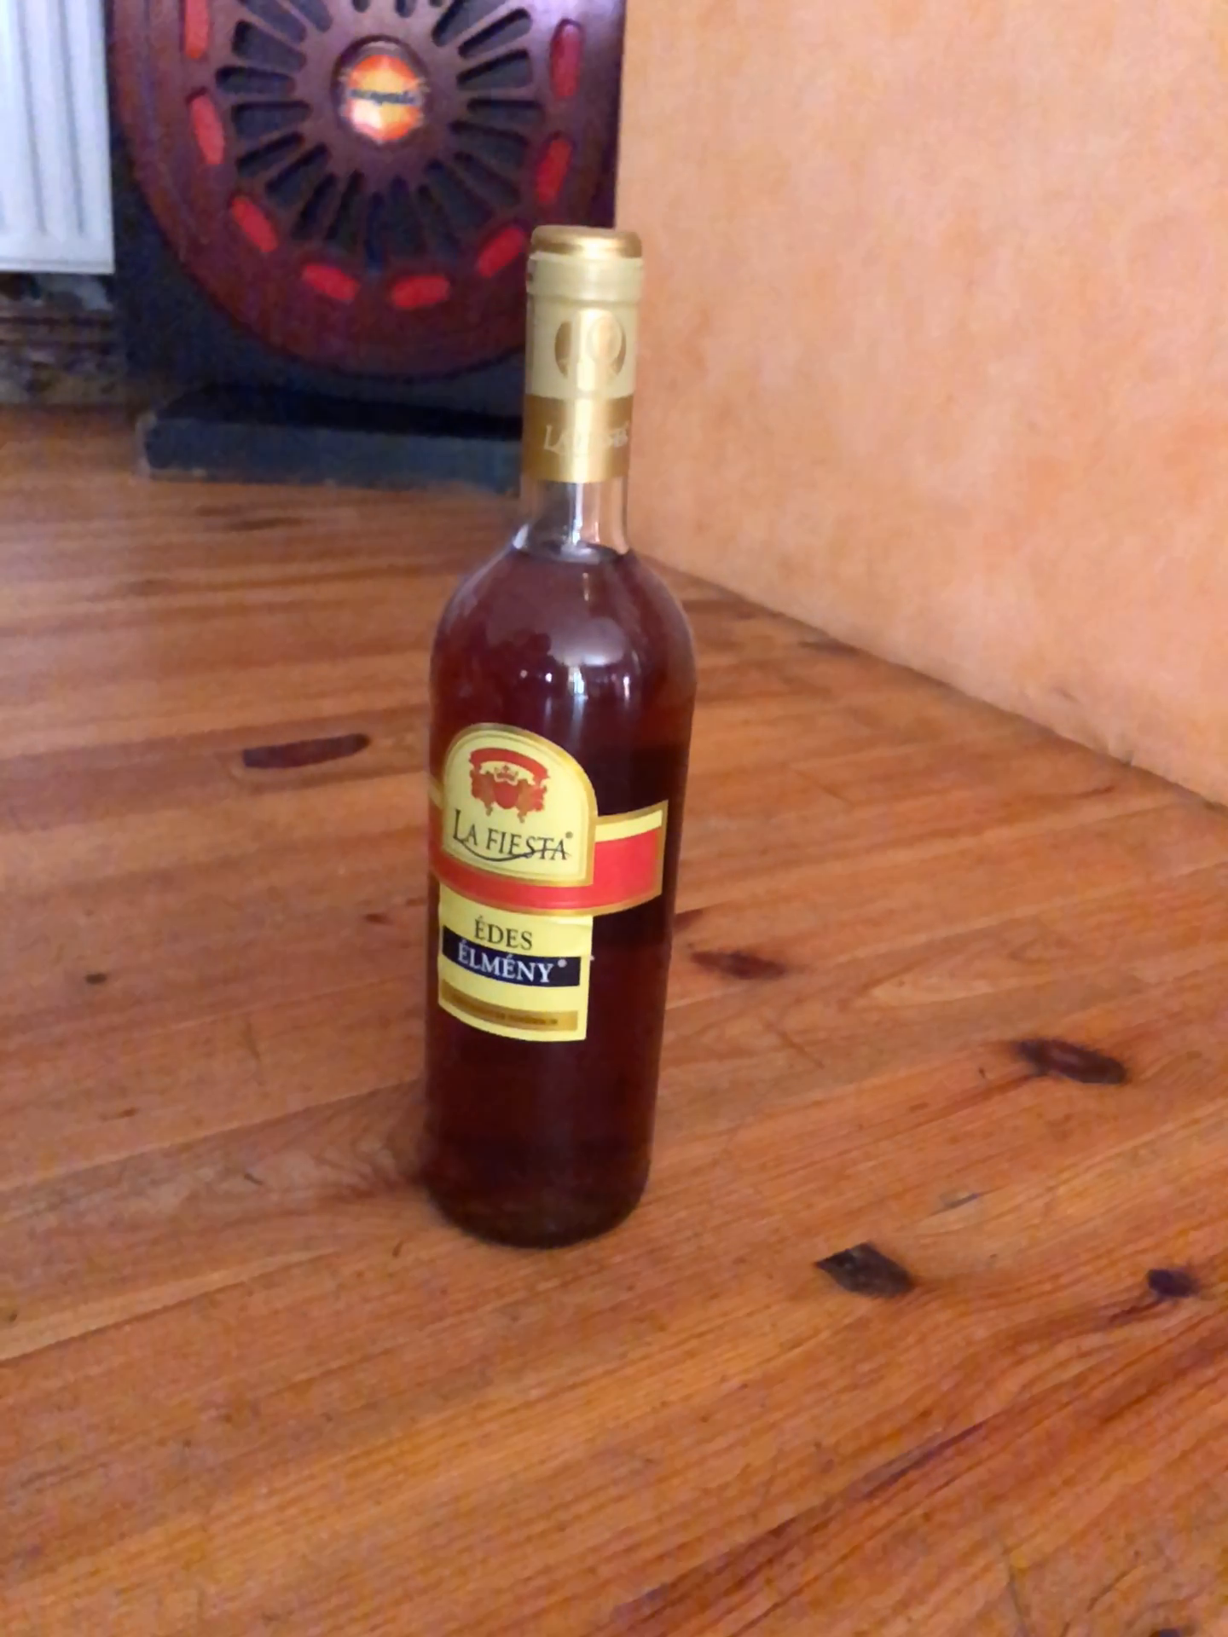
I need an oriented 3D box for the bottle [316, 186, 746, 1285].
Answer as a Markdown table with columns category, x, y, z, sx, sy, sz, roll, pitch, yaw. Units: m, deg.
| category | x | y | z | sx | sy | sz | roll | pitch | yaw |
| --- | --- | --- | --- | --- | --- | --- | --- | --- | --- |
| bottle | -0.024 | -0.018 | 0.387 | 0.080 | 0.288 | 0.081 | 3 | 23 | -1 |
